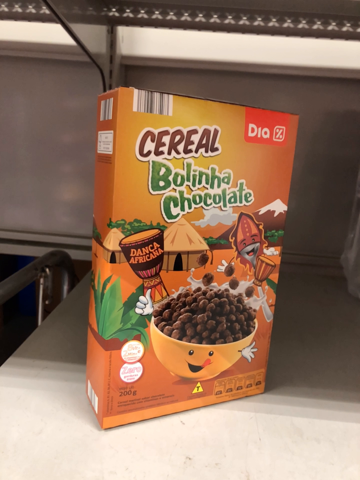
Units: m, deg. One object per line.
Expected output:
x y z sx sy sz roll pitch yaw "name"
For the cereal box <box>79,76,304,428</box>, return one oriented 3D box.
0.009 0.011 0.355 0.170 0.259 0.060 0 10 -28 "cereal box"
